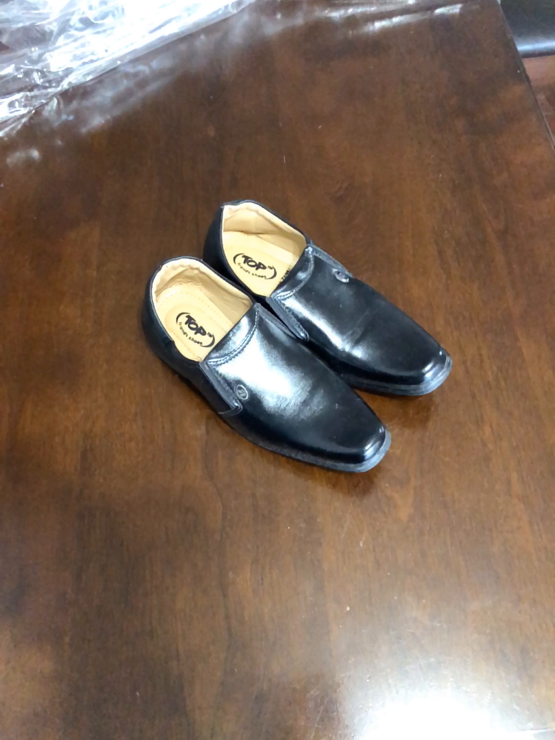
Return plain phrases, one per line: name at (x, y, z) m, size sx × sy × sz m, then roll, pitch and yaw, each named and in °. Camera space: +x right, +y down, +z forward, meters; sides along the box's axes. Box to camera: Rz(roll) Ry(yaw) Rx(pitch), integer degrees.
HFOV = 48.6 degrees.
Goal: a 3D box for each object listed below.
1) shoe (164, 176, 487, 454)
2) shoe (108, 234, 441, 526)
shoe at (0.033, -0.048, 0.496) m, size 0.230 × 0.090 × 0.090 m, roll 34°, pitch 70°, yaw 20°
shoe at (-0.006, 0.003, 0.469) m, size 0.230 × 0.080 × 0.090 m, roll 34°, pitch 70°, yaw 20°
